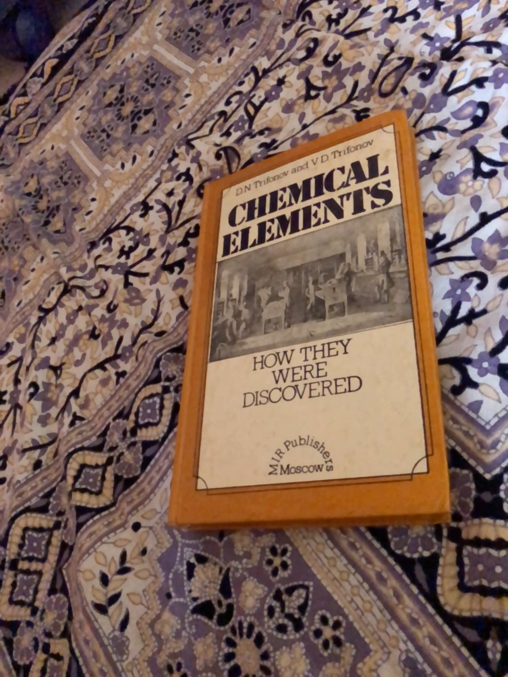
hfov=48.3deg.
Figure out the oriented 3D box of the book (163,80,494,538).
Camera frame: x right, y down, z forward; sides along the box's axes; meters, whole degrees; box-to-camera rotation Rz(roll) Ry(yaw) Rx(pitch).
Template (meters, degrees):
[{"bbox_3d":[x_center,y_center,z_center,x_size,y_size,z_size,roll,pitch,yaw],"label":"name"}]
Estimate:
[{"bbox_3d":[0.030,-0.017,0.292,0.140,0.030,0.220,-13,60,28],"label":"book"}]
